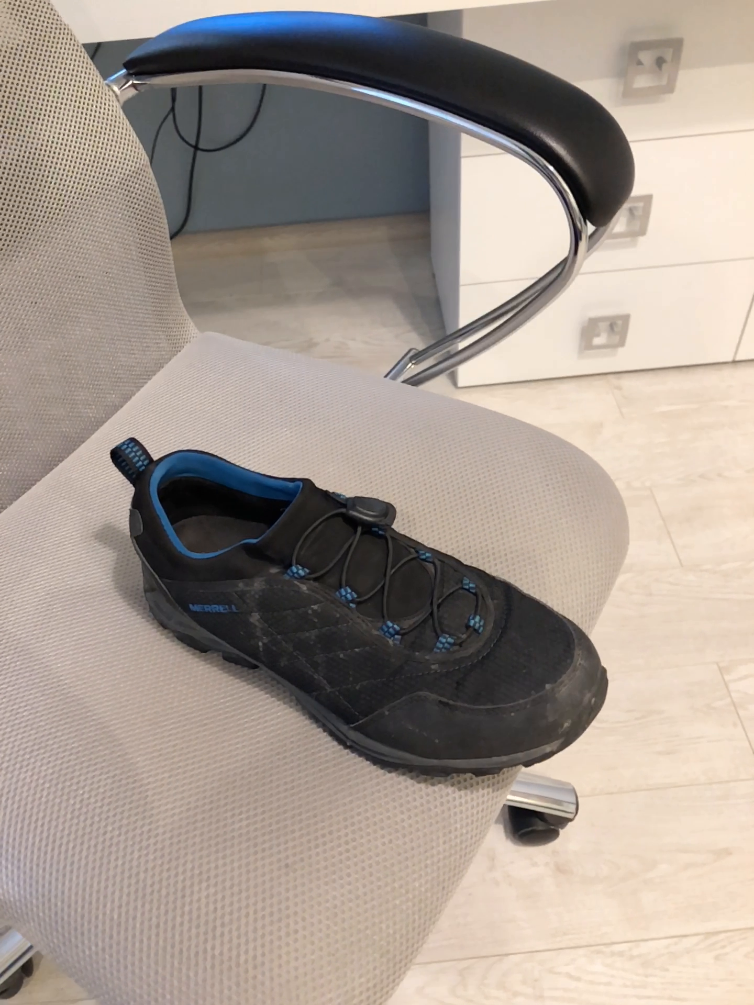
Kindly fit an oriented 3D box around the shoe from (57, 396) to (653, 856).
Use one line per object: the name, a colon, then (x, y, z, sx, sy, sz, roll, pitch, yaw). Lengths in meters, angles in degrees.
shoe: (-0.015, 0.059, 0.489, 0.300, 0.109, 0.129, 21, 53, 21)
